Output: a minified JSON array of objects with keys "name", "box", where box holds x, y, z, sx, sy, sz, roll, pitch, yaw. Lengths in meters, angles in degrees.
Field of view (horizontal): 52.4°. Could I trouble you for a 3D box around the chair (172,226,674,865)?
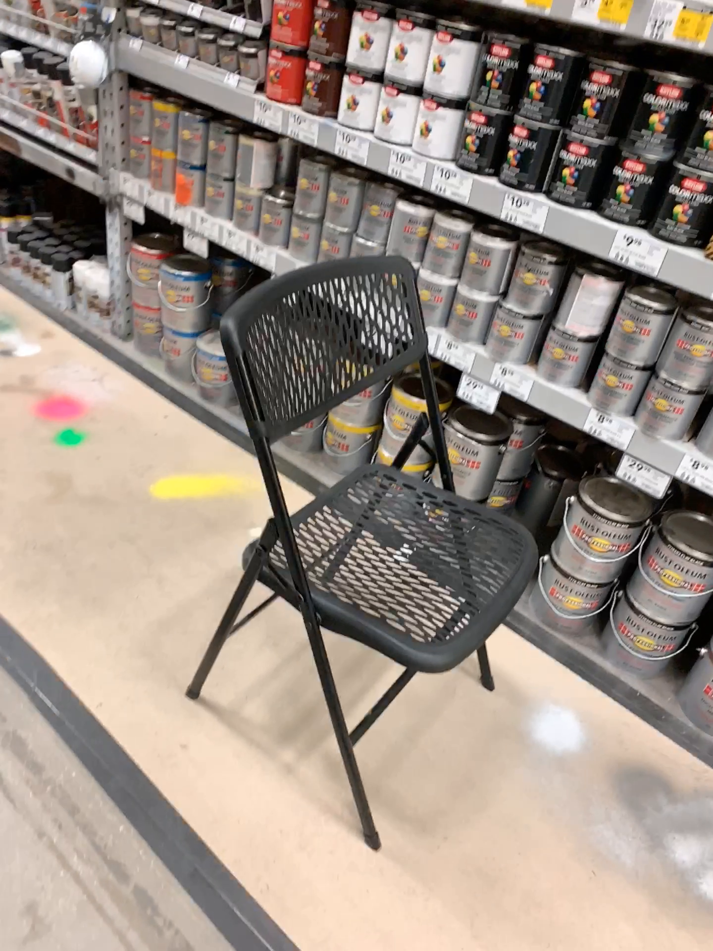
[{"name":"chair","box":[0.059,0.100,1.251,0.516,0.814,0.520,29,40,24]}]
